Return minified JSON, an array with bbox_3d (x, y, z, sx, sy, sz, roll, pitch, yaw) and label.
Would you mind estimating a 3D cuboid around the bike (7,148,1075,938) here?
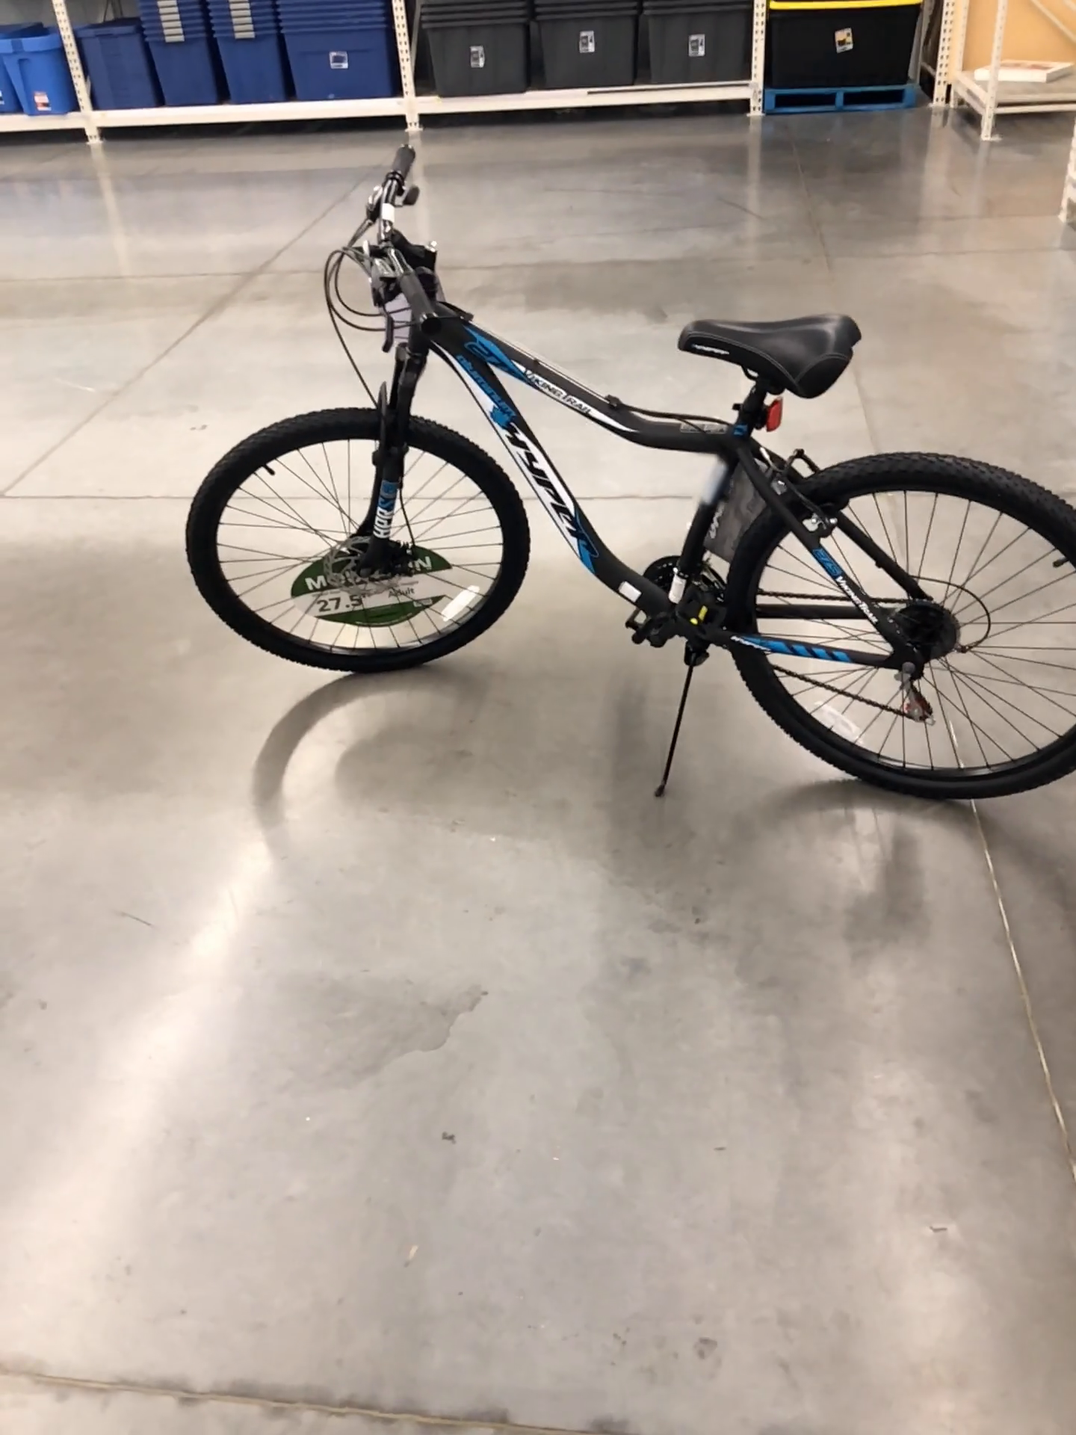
[{"bbox_3d":[0.115,-0.335,1.968,1.634,0.986,0.575,8,37,19],"label":"bike"}]
